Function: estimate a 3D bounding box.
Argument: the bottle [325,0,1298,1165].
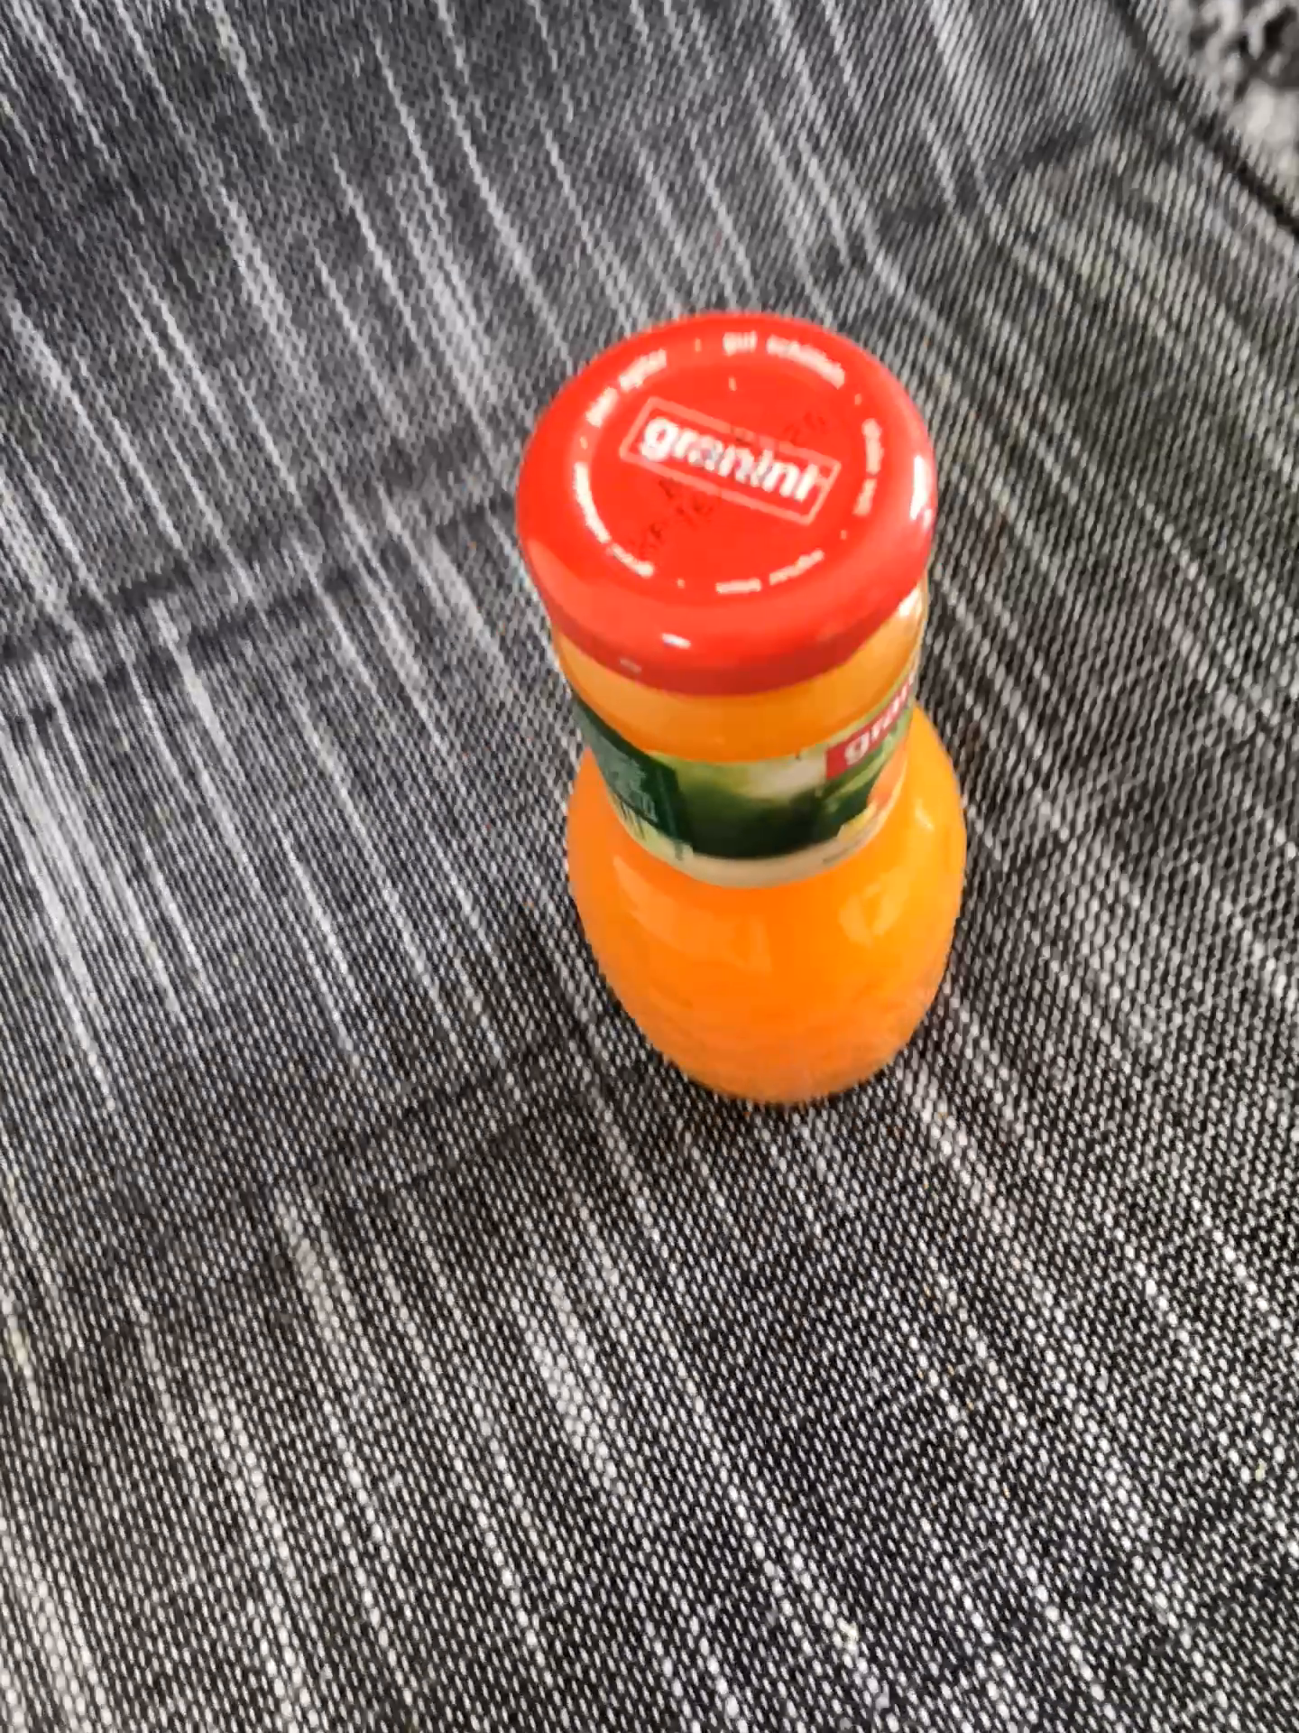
[{"bbox_3d":[0.022,-0.017,0.196,0.060,0.150,0.070,31,75,14],"label":"bottle"}]
